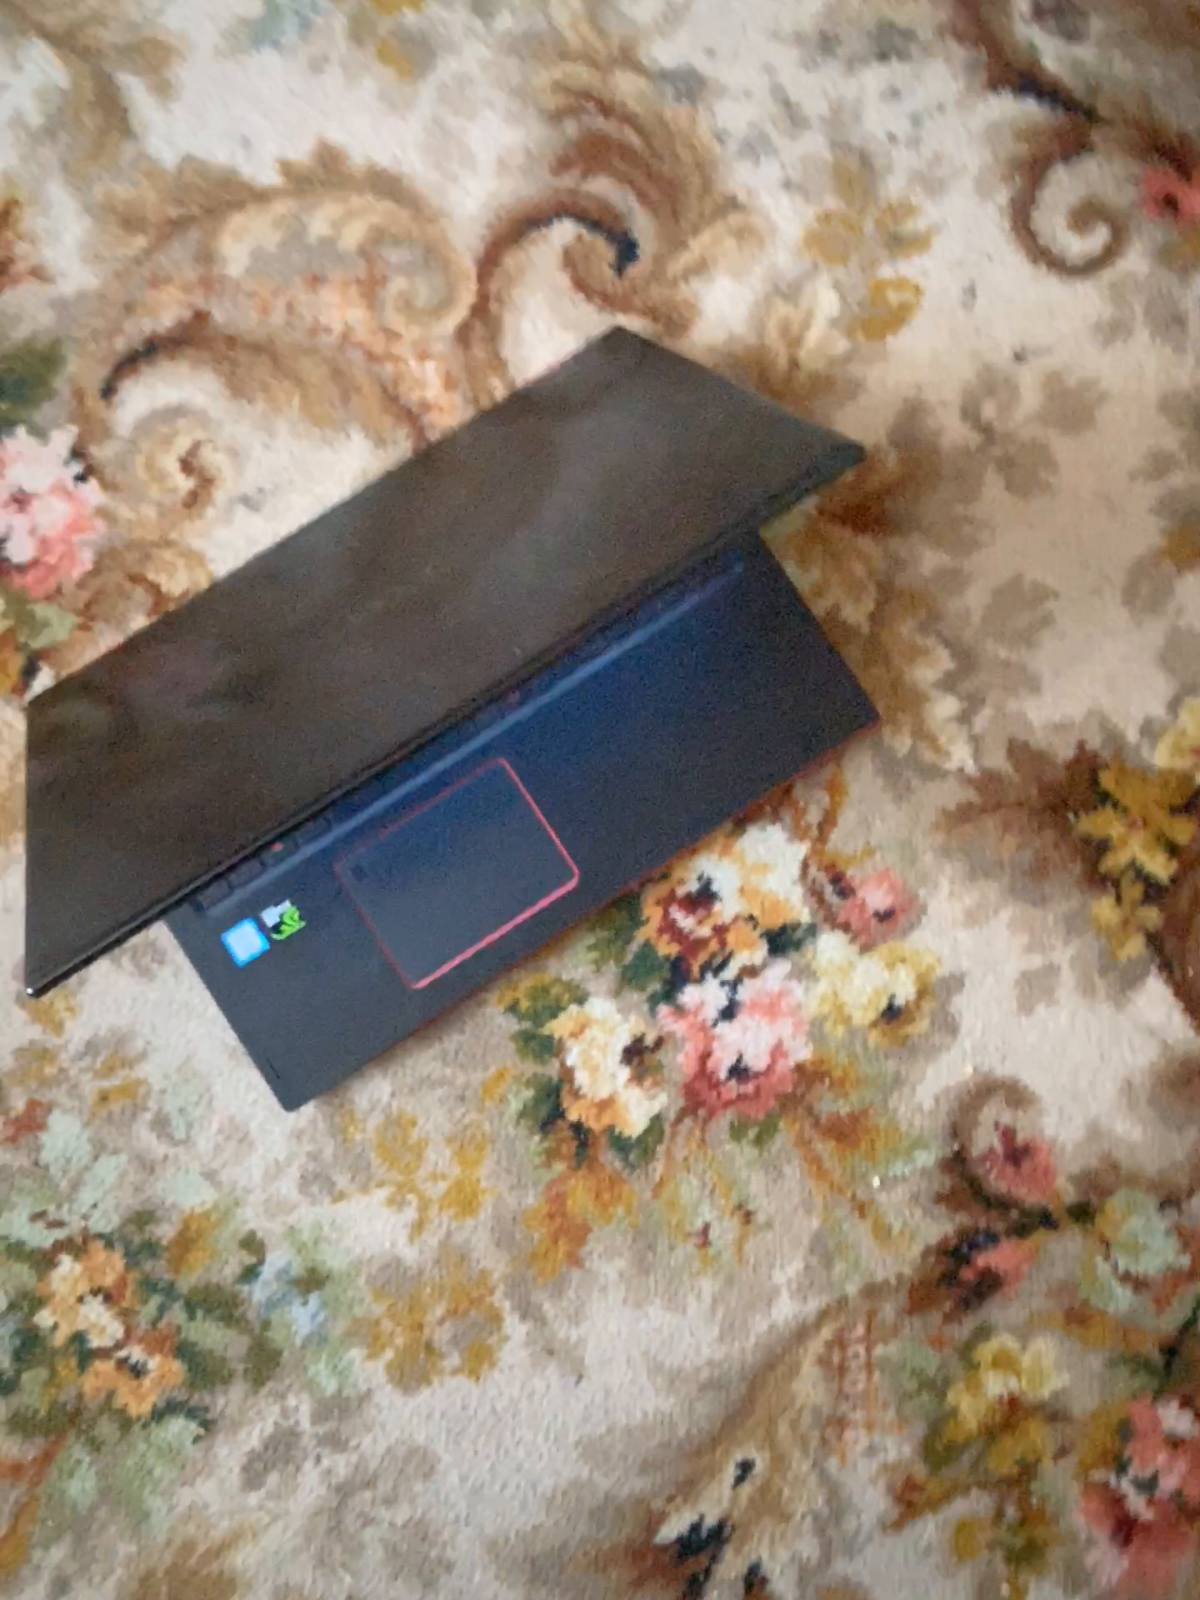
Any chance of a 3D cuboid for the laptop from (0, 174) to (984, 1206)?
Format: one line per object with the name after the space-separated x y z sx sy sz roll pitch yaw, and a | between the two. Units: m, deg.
-0.064 -0.040 0.546 0.356 0.173 0.224 -33 90 -2 | laptop
